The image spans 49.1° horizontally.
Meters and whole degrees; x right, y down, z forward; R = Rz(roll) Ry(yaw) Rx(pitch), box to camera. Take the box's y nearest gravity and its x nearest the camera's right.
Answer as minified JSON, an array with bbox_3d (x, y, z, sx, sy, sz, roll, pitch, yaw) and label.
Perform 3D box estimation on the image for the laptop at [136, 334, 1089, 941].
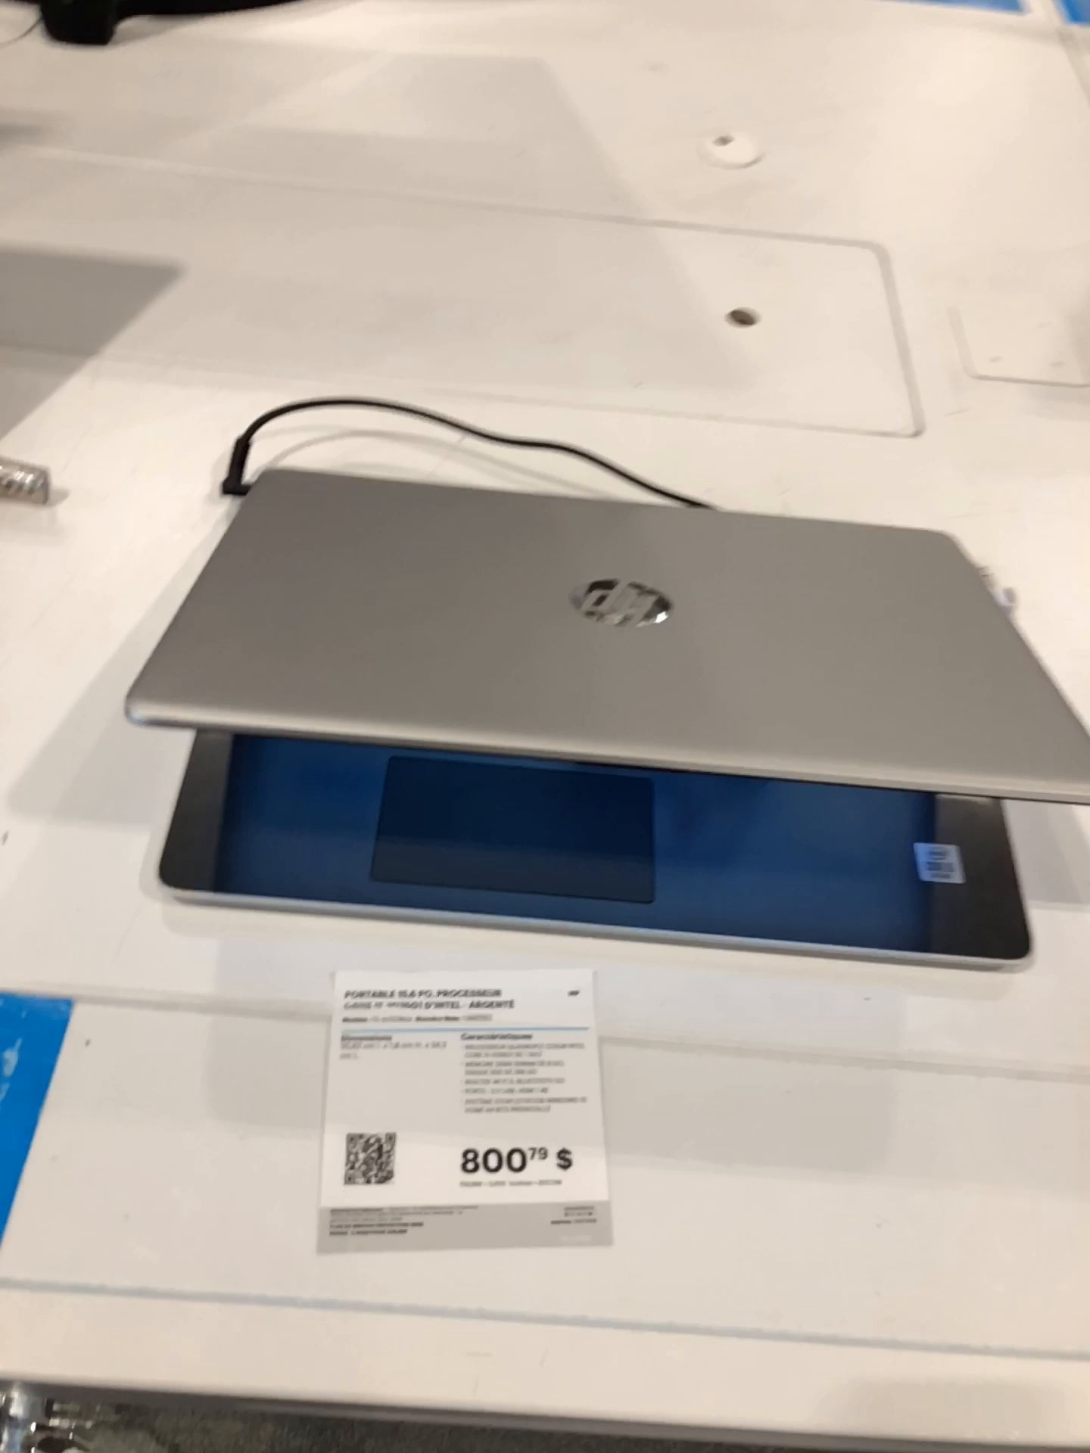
[{"bbox_3d":[0.035,-0.047,0.508,0.341,0.086,0.229,5,53,0],"label":"laptop"}]
